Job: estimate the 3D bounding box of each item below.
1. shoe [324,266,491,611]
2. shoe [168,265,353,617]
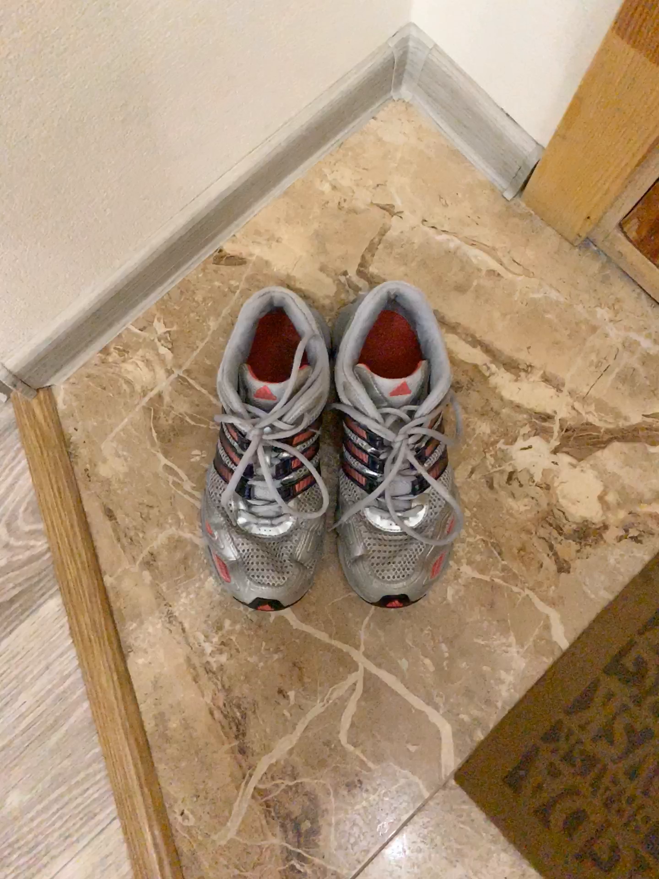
[{"bbox_3d":[0.055,0.002,0.512,0.110,0.090,0.240,2,79,0],"label":"shoe"},{"bbox_3d":[-0.045,0.003,0.508,0.110,0.090,0.240,3,79,0],"label":"shoe"}]
